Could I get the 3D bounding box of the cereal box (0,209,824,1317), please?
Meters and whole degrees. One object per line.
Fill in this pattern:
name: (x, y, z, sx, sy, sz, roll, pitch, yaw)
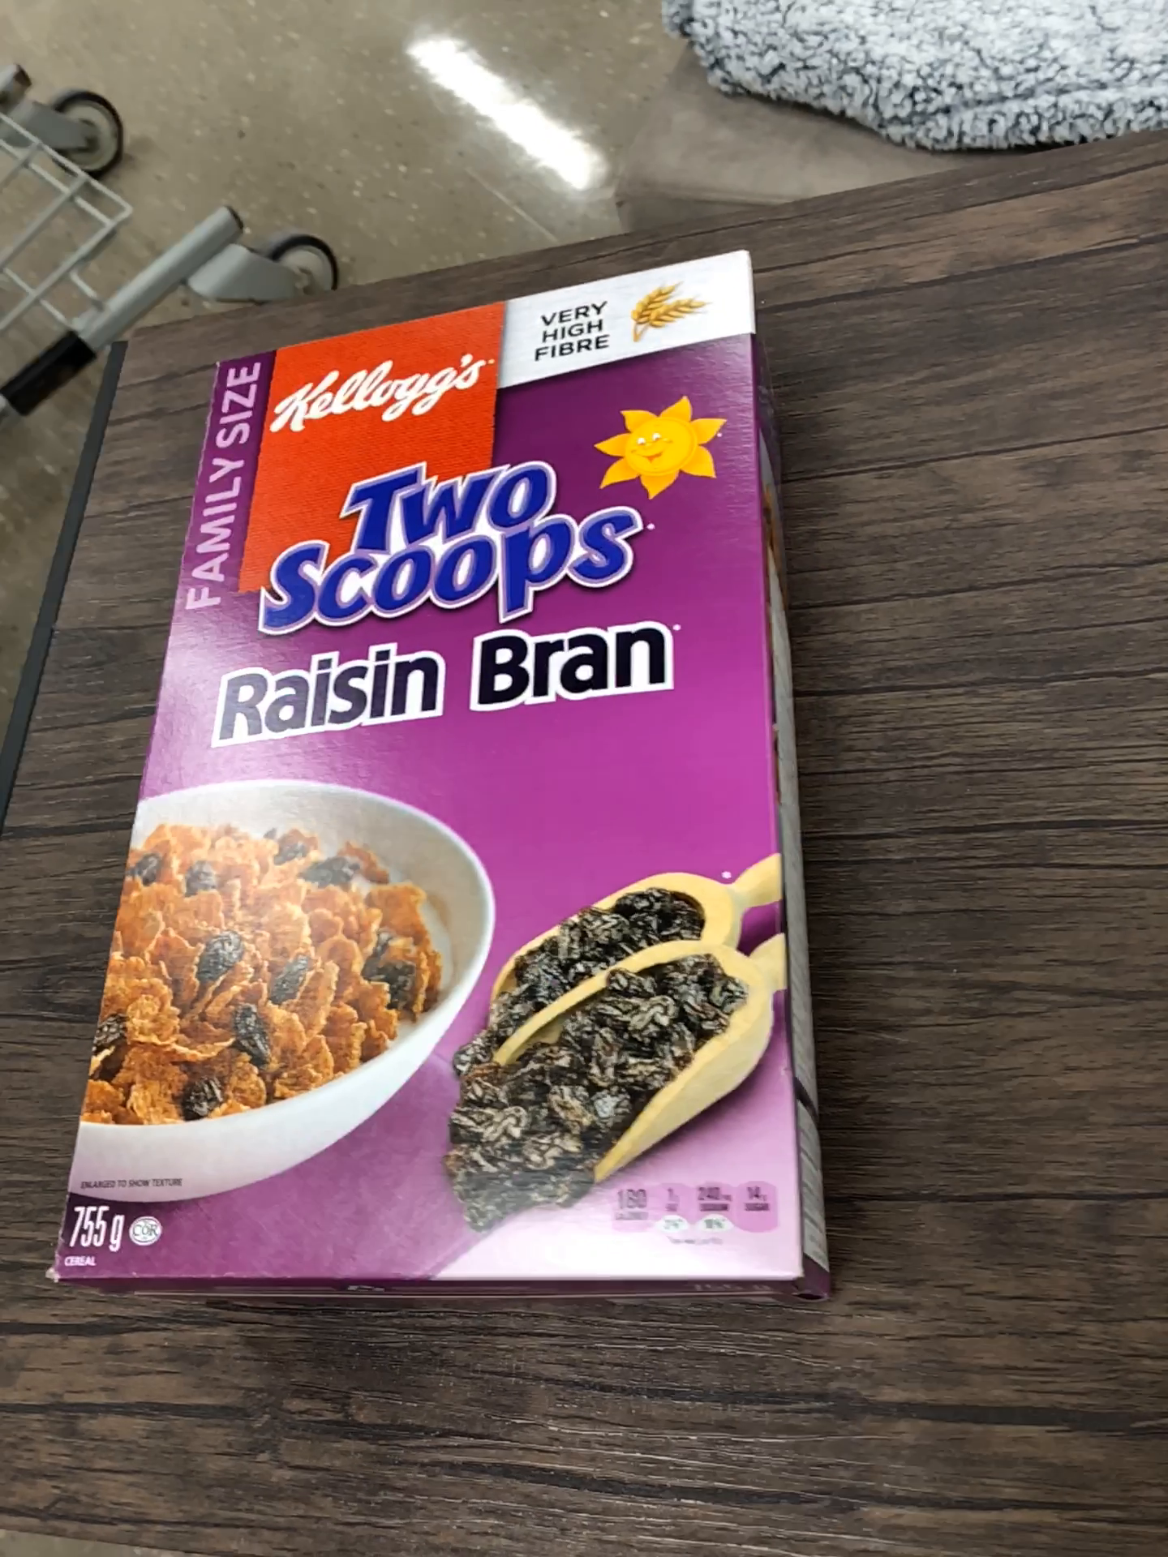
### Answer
cereal box: (-0.046, -0.008, 0.404, 0.210, 0.080, 0.320, -6, 64, 15)
